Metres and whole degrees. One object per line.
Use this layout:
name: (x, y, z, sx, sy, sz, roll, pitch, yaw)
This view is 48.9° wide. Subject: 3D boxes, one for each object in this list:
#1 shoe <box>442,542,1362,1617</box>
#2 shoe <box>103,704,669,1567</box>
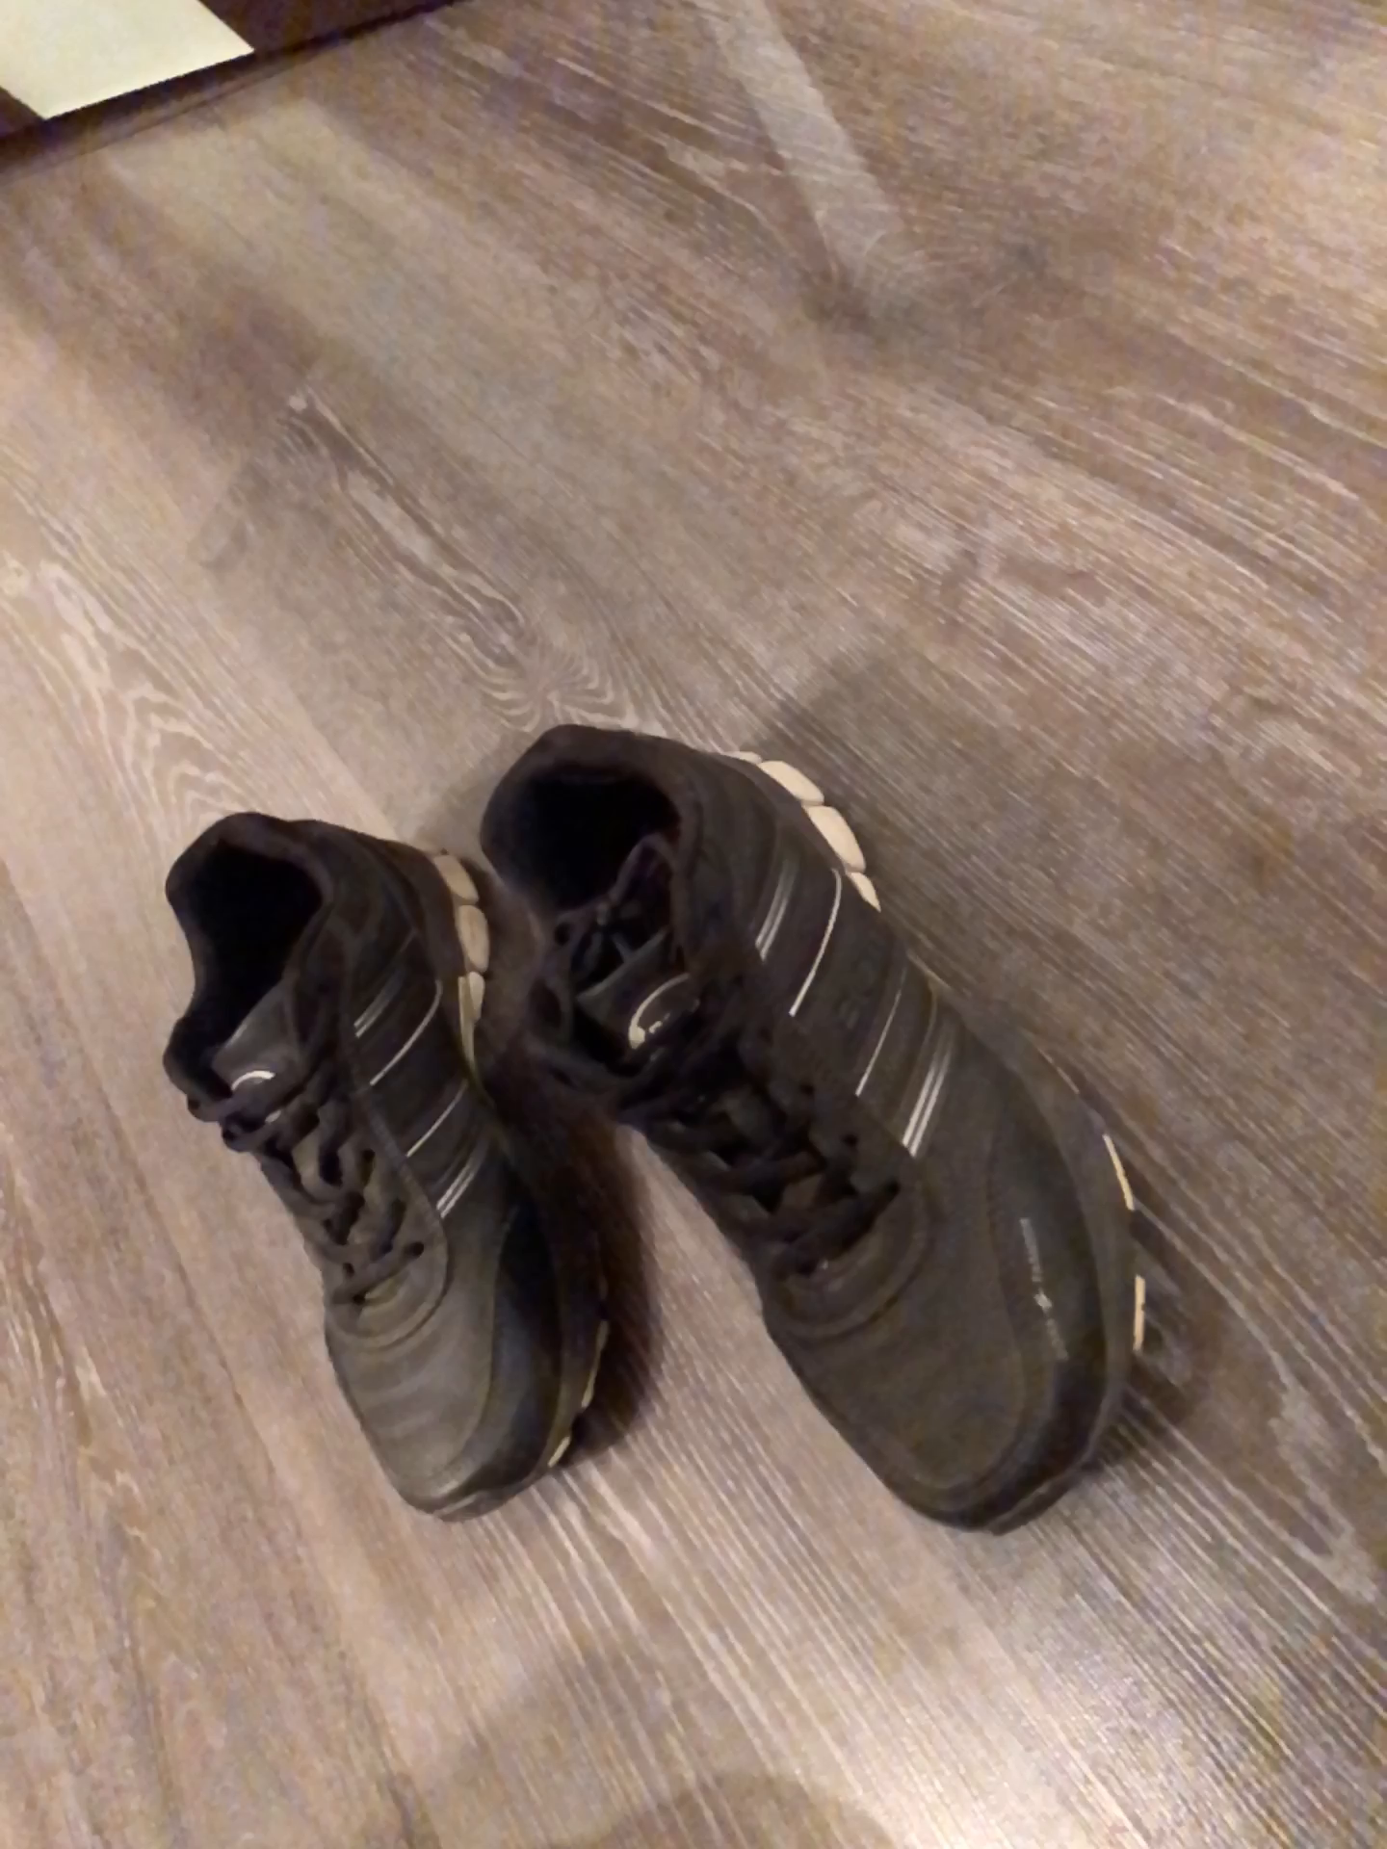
shoe: (0.041, 0.033, 0.420, 0.110, 0.100, 0.261, -42, 53, 18)
shoe: (-0.111, 0.063, 0.502, 0.100, 0.090, 0.251, -37, 55, 22)
